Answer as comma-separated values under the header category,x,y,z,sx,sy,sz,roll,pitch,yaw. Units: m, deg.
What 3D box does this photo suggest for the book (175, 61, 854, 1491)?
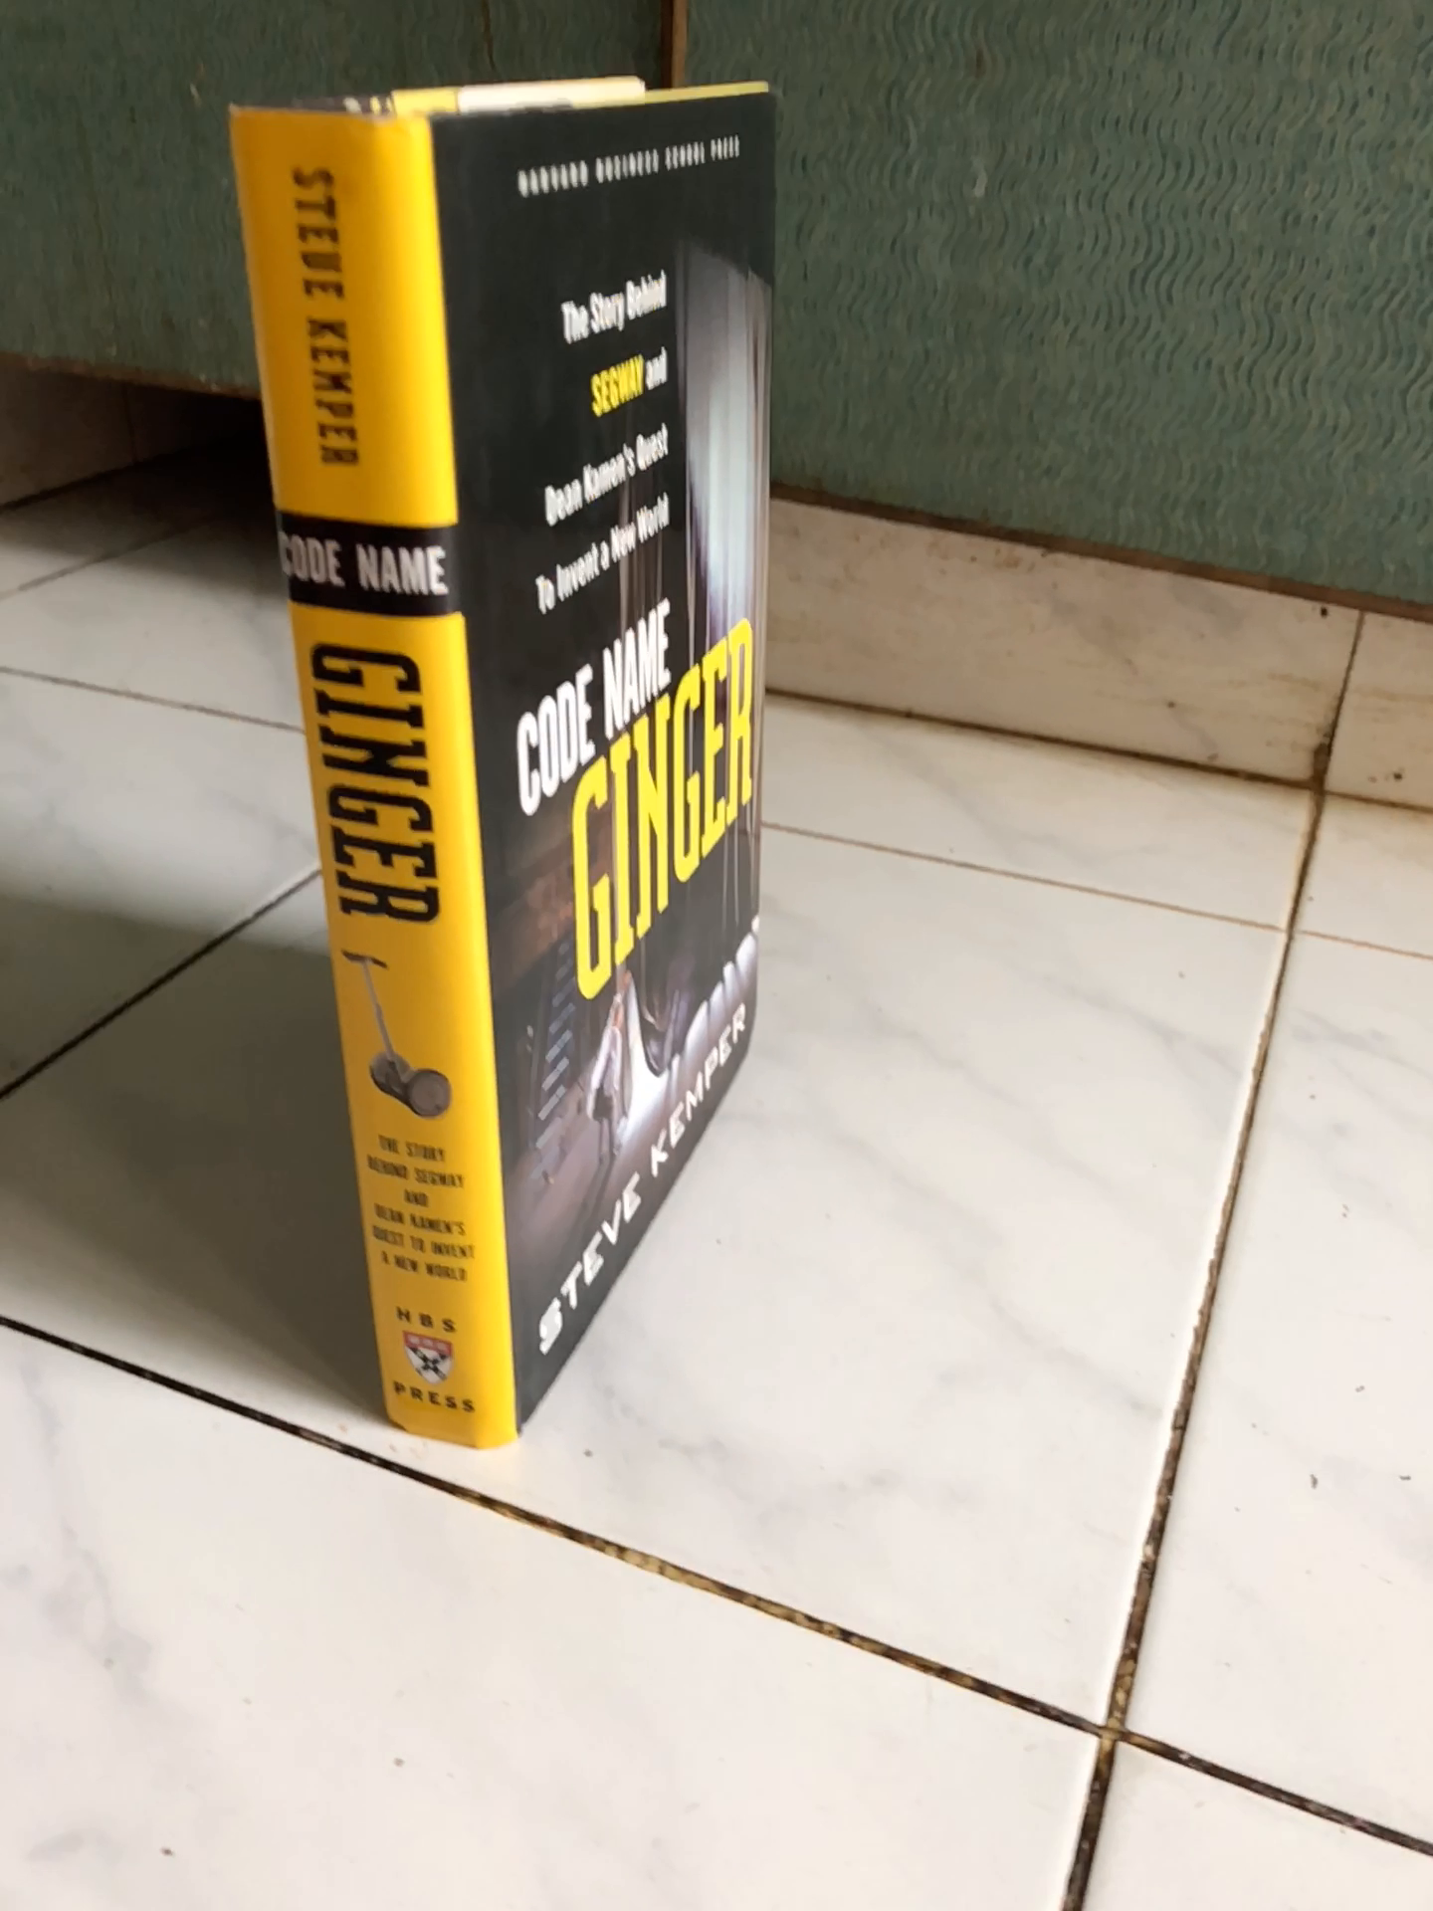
category,x,y,z,sx,sy,sz,roll,pitch,yaw
book,-0.021,-0.048,0.333,0.040,0.239,0.191,10,31,15
